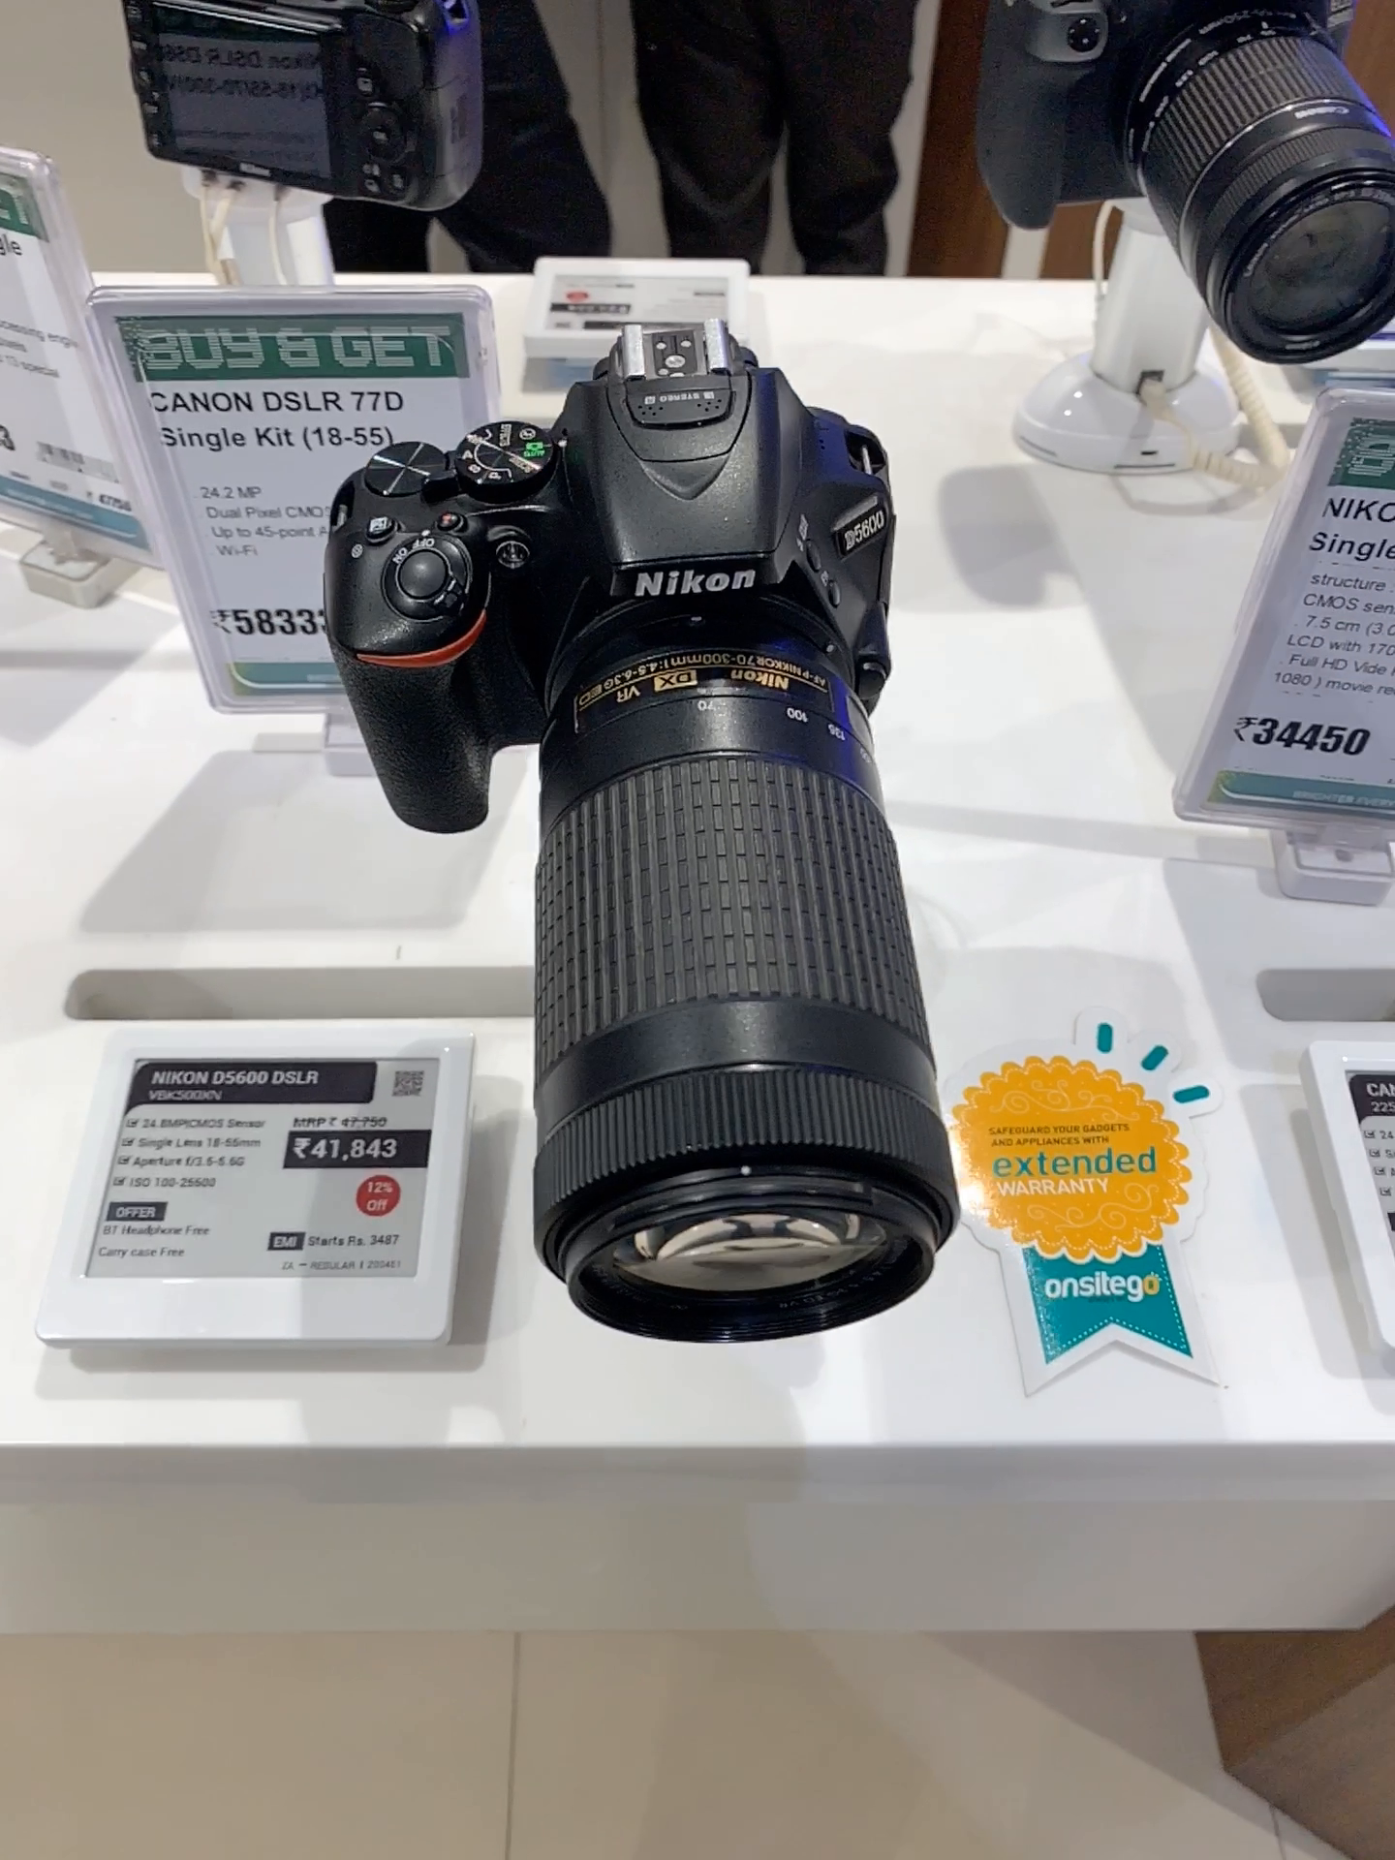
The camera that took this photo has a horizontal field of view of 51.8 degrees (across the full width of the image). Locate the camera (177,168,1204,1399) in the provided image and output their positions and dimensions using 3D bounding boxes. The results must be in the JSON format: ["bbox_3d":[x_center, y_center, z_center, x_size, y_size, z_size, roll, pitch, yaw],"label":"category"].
[{"bbox_3d":[-0.009,-0.058,0.302,0.130,0.080,0.281,-2,50,-3],"label":"camera"}]
